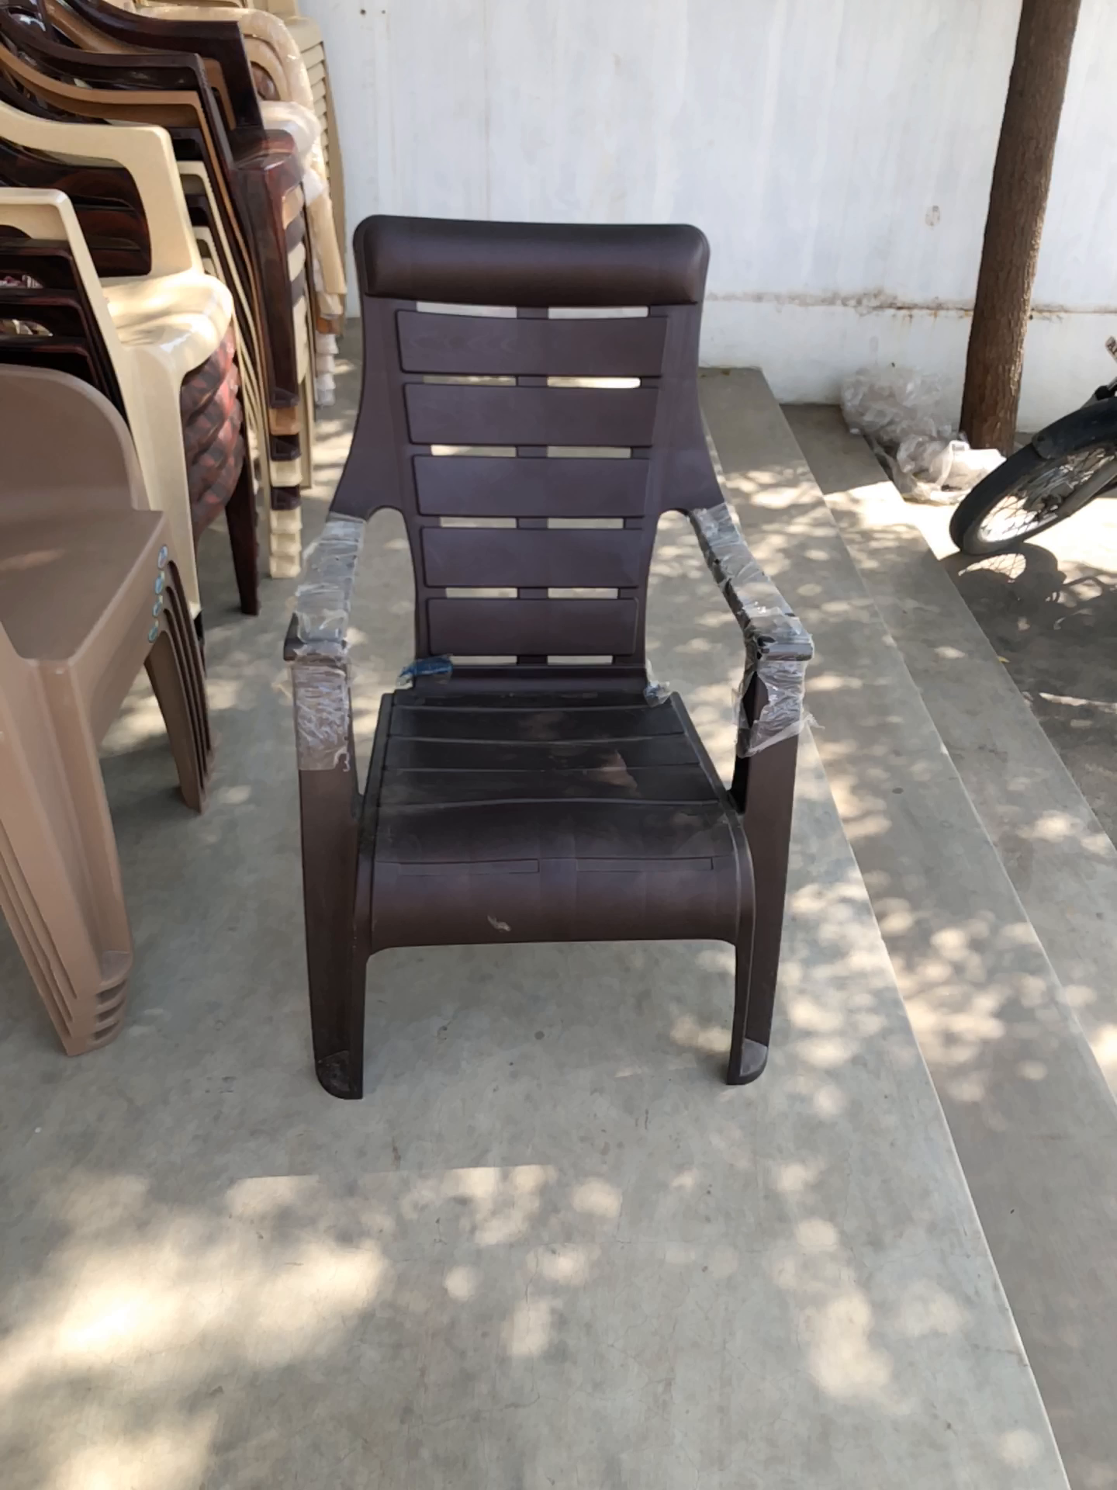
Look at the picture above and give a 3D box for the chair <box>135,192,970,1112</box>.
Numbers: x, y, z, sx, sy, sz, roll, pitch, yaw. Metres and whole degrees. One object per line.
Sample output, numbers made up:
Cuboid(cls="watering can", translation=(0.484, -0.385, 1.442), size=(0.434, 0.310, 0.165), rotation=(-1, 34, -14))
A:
Cuboid(cls="chair", translation=(-0.035, -0.145, 1.557), size=(0.680, 0.875, 0.764), rotation=(-1, 35, -4))
